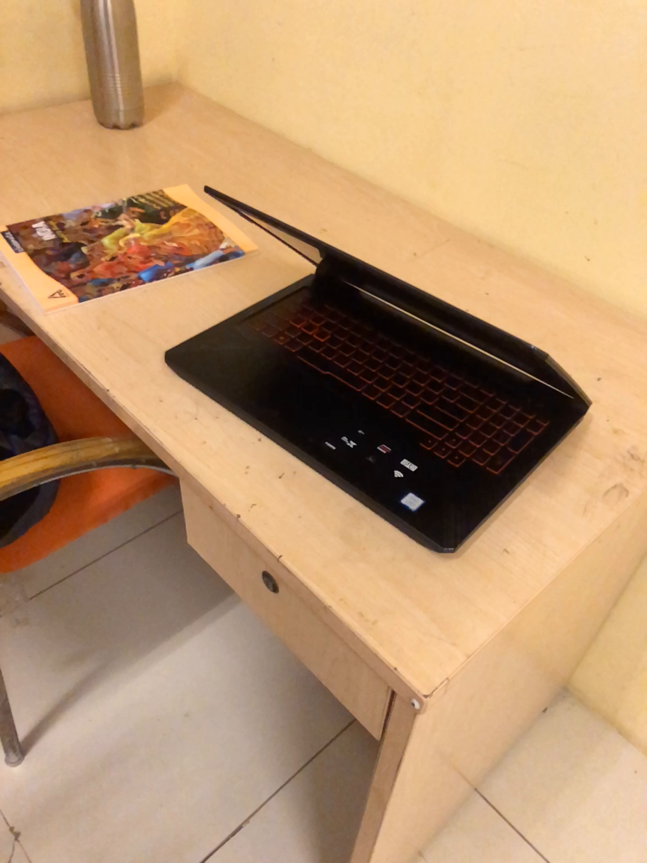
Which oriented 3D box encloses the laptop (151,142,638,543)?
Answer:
[{"bbox_3d":[0.054,-0.117,0.707,0.370,0.173,0.253,33,49,28],"label":"laptop"}]
